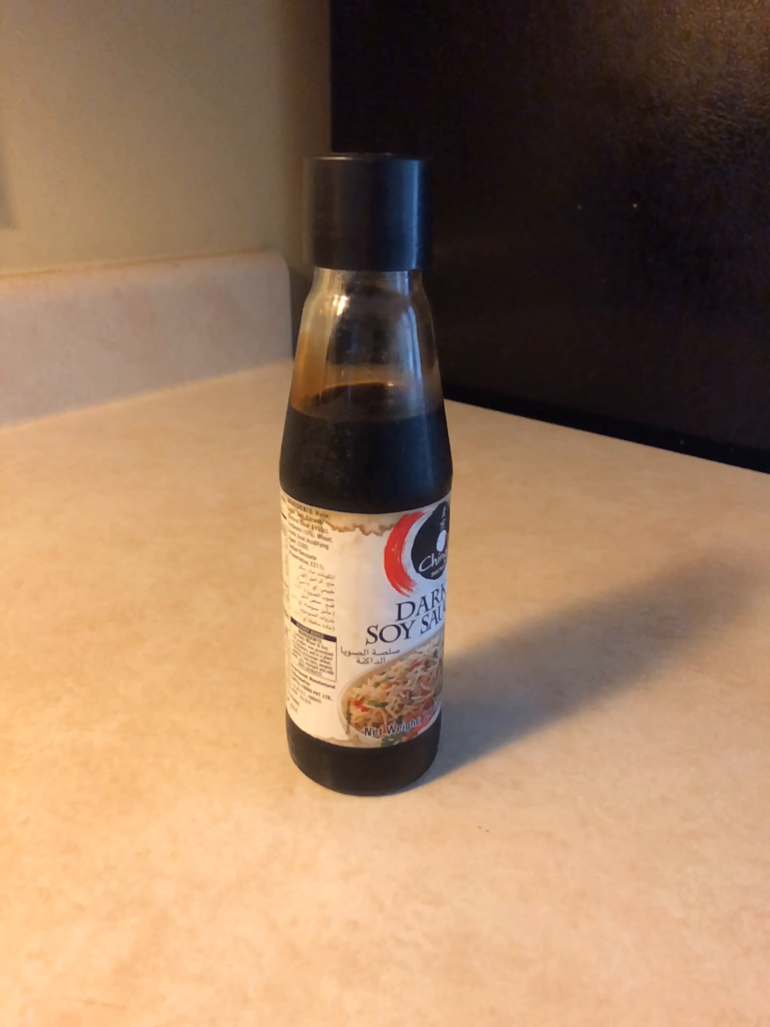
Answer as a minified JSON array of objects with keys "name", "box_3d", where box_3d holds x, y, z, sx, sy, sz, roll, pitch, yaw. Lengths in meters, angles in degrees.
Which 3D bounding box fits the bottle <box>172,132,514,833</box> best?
[{"name":"bottle","box_3d":[-0.009,-0.010,0.244,0.060,0.180,0.060,0,23,0]}]
